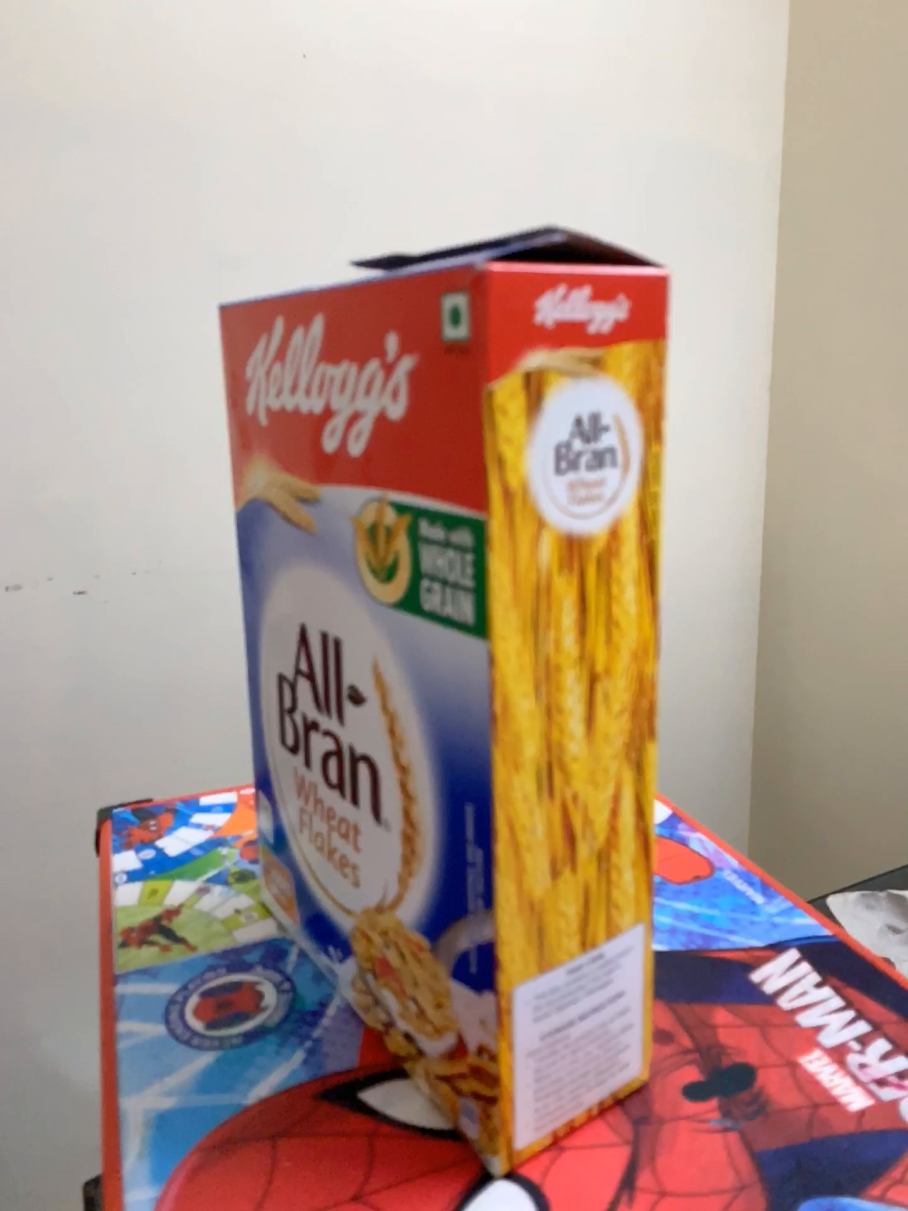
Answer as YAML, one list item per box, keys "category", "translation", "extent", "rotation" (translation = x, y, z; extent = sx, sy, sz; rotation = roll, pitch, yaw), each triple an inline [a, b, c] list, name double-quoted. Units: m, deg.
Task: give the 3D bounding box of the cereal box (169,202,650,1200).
- category: "cereal box"
  translation: [-0.026, 0.015, 0.313]
  extent: [0.060, 0.249, 0.191]
  rotation: [-10, 16, -31]
